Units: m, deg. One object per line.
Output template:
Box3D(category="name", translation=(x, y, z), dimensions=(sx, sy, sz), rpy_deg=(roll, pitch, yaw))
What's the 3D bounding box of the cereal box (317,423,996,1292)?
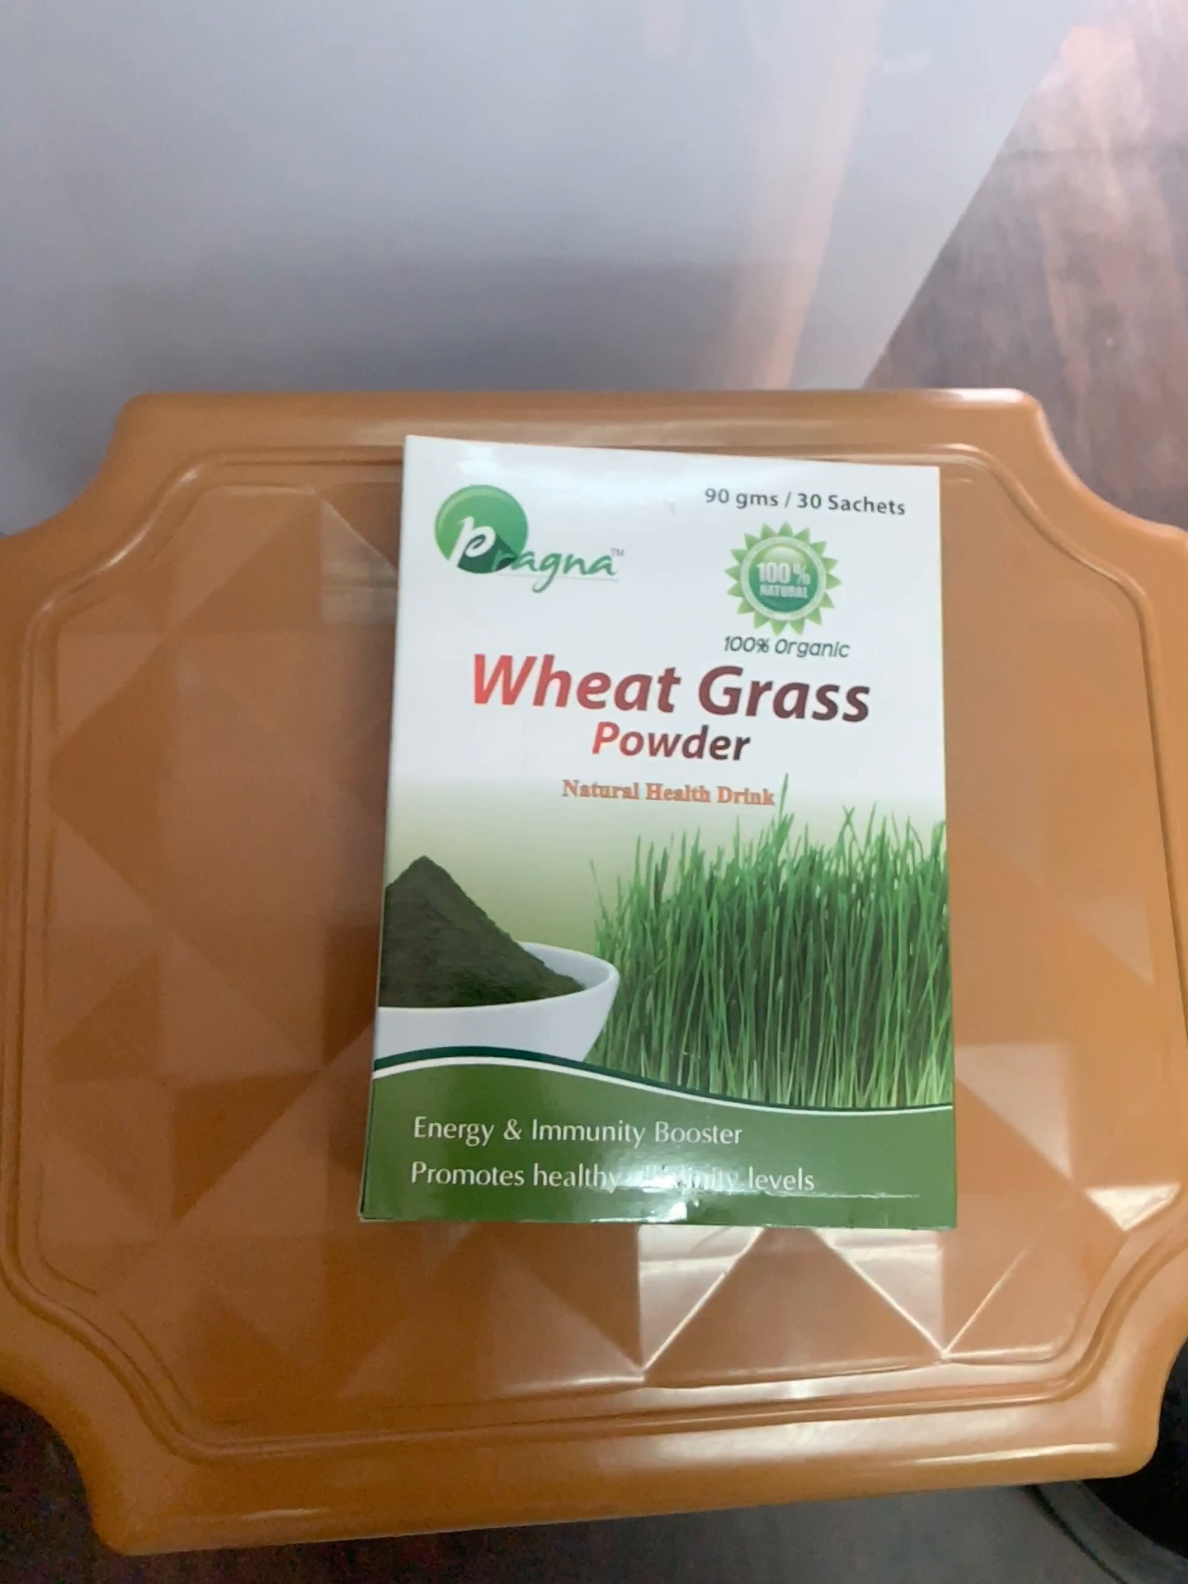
Box3D(category="cereal box", translation=(0.014, 0.014, 0.272), dimensions=(0.130, 0.050, 0.170), rpy_deg=(2, 82, -4))
